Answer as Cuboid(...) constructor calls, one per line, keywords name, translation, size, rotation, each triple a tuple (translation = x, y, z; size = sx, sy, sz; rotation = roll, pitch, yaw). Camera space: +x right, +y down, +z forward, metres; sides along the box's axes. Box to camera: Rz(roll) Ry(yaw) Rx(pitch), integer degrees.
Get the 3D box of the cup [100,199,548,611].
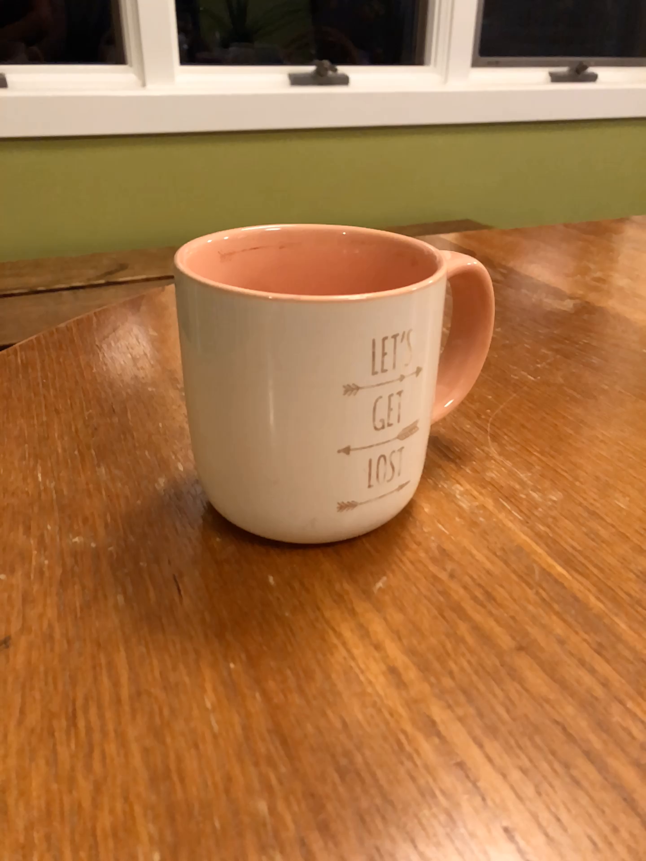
Cuboid(name="cup", translation=(0.004, -0.025, 0.294), size=(0.145, 0.106, 0.094), rotation=(-23, 37, -37))
